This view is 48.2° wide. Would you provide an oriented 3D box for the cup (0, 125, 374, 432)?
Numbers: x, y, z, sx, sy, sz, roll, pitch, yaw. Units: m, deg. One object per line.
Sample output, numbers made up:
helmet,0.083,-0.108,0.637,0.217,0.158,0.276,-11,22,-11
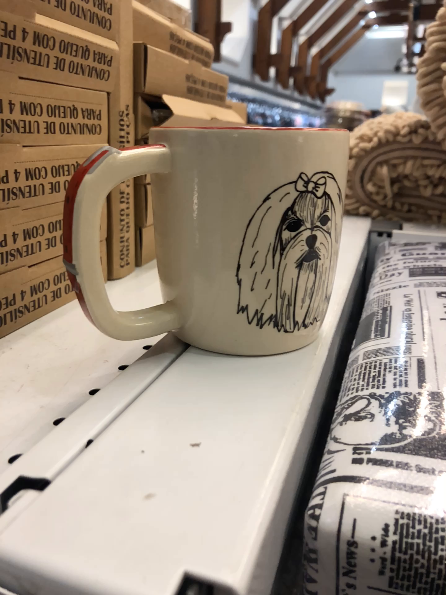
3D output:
cup,-0.011,-0.024,0.212,0.090,0.089,0.120,17,24,40
